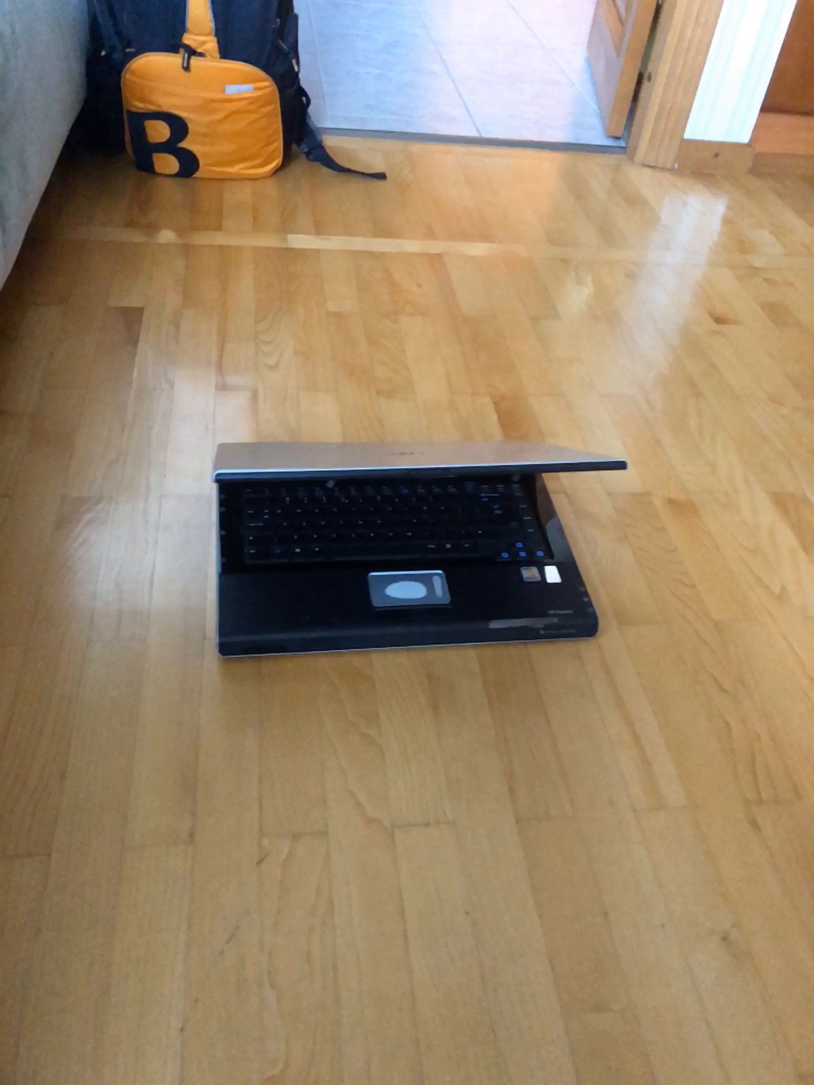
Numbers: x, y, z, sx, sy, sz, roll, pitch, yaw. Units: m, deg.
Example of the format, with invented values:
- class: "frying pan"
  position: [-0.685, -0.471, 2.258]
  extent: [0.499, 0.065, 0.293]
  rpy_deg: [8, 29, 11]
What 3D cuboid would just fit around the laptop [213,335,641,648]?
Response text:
- class: "laptop"
  position: [-0.003, -0.061, 0.879]
  extent: [0.362, 0.147, 0.269]
  rpy_deg: [-2, 45, -11]
